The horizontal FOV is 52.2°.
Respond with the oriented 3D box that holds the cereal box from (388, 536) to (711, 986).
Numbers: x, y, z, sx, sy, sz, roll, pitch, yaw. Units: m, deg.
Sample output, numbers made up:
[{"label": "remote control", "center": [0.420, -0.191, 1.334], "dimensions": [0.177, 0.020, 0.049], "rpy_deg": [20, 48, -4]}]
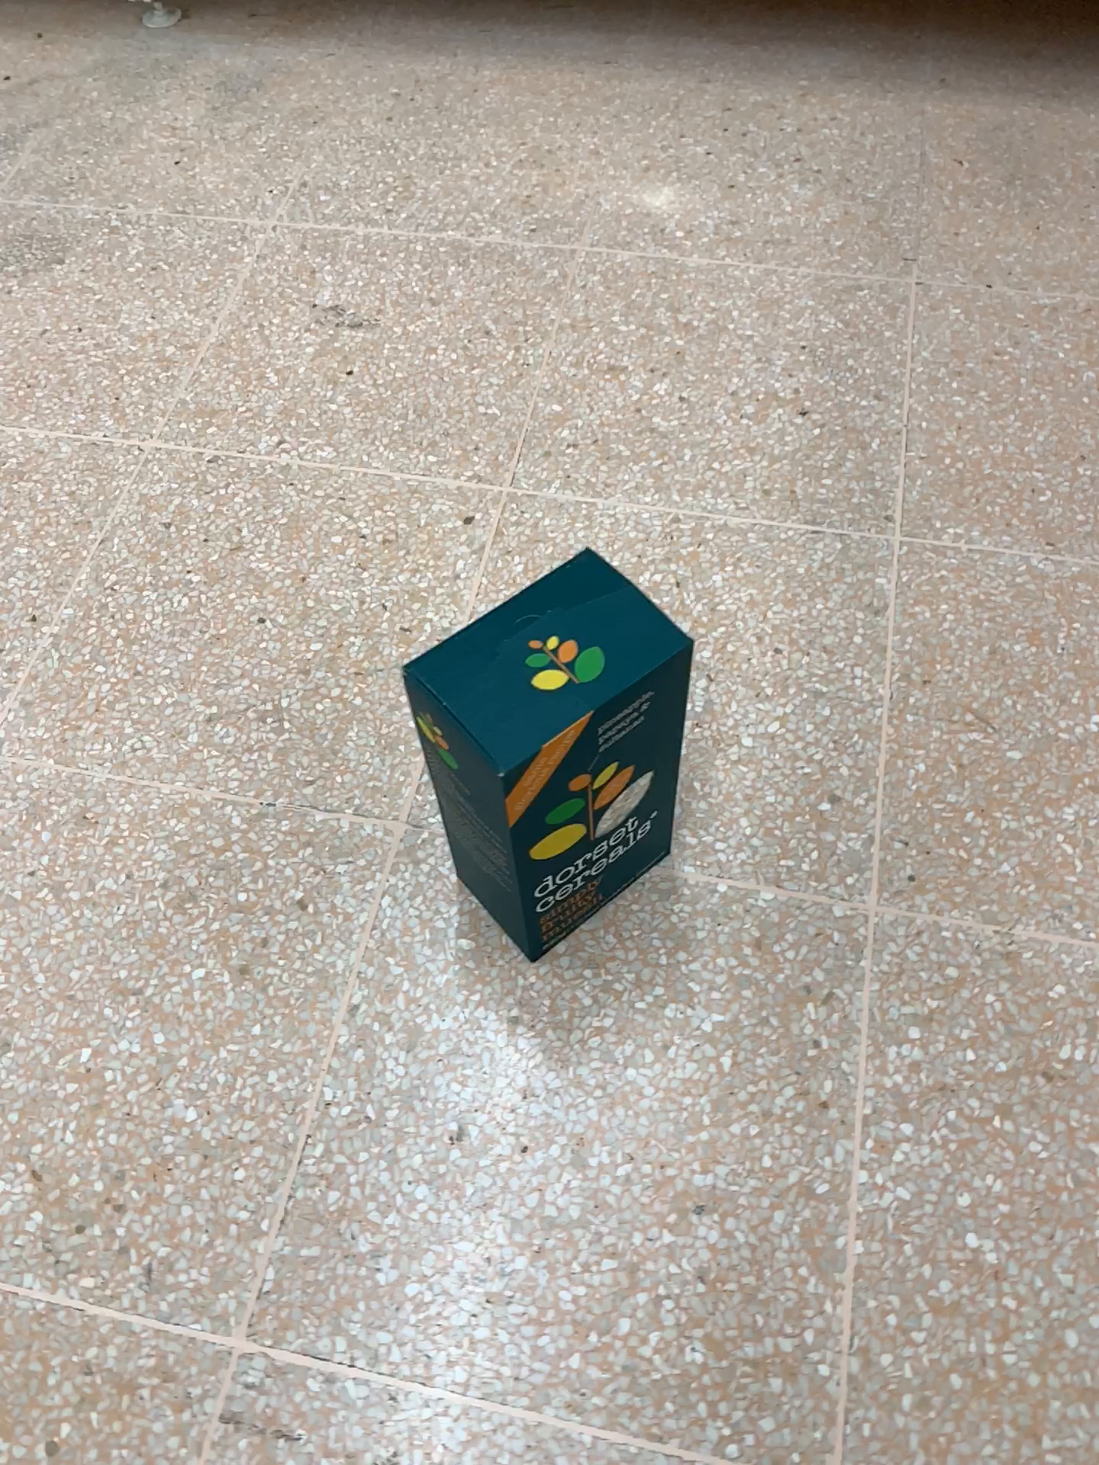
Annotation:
[{"label": "cereal box", "center": [0.005, 0.028, 0.599], "dimensions": [0.120, 0.238, 0.080], "rpy_deg": [-35, 63, -18]}]
